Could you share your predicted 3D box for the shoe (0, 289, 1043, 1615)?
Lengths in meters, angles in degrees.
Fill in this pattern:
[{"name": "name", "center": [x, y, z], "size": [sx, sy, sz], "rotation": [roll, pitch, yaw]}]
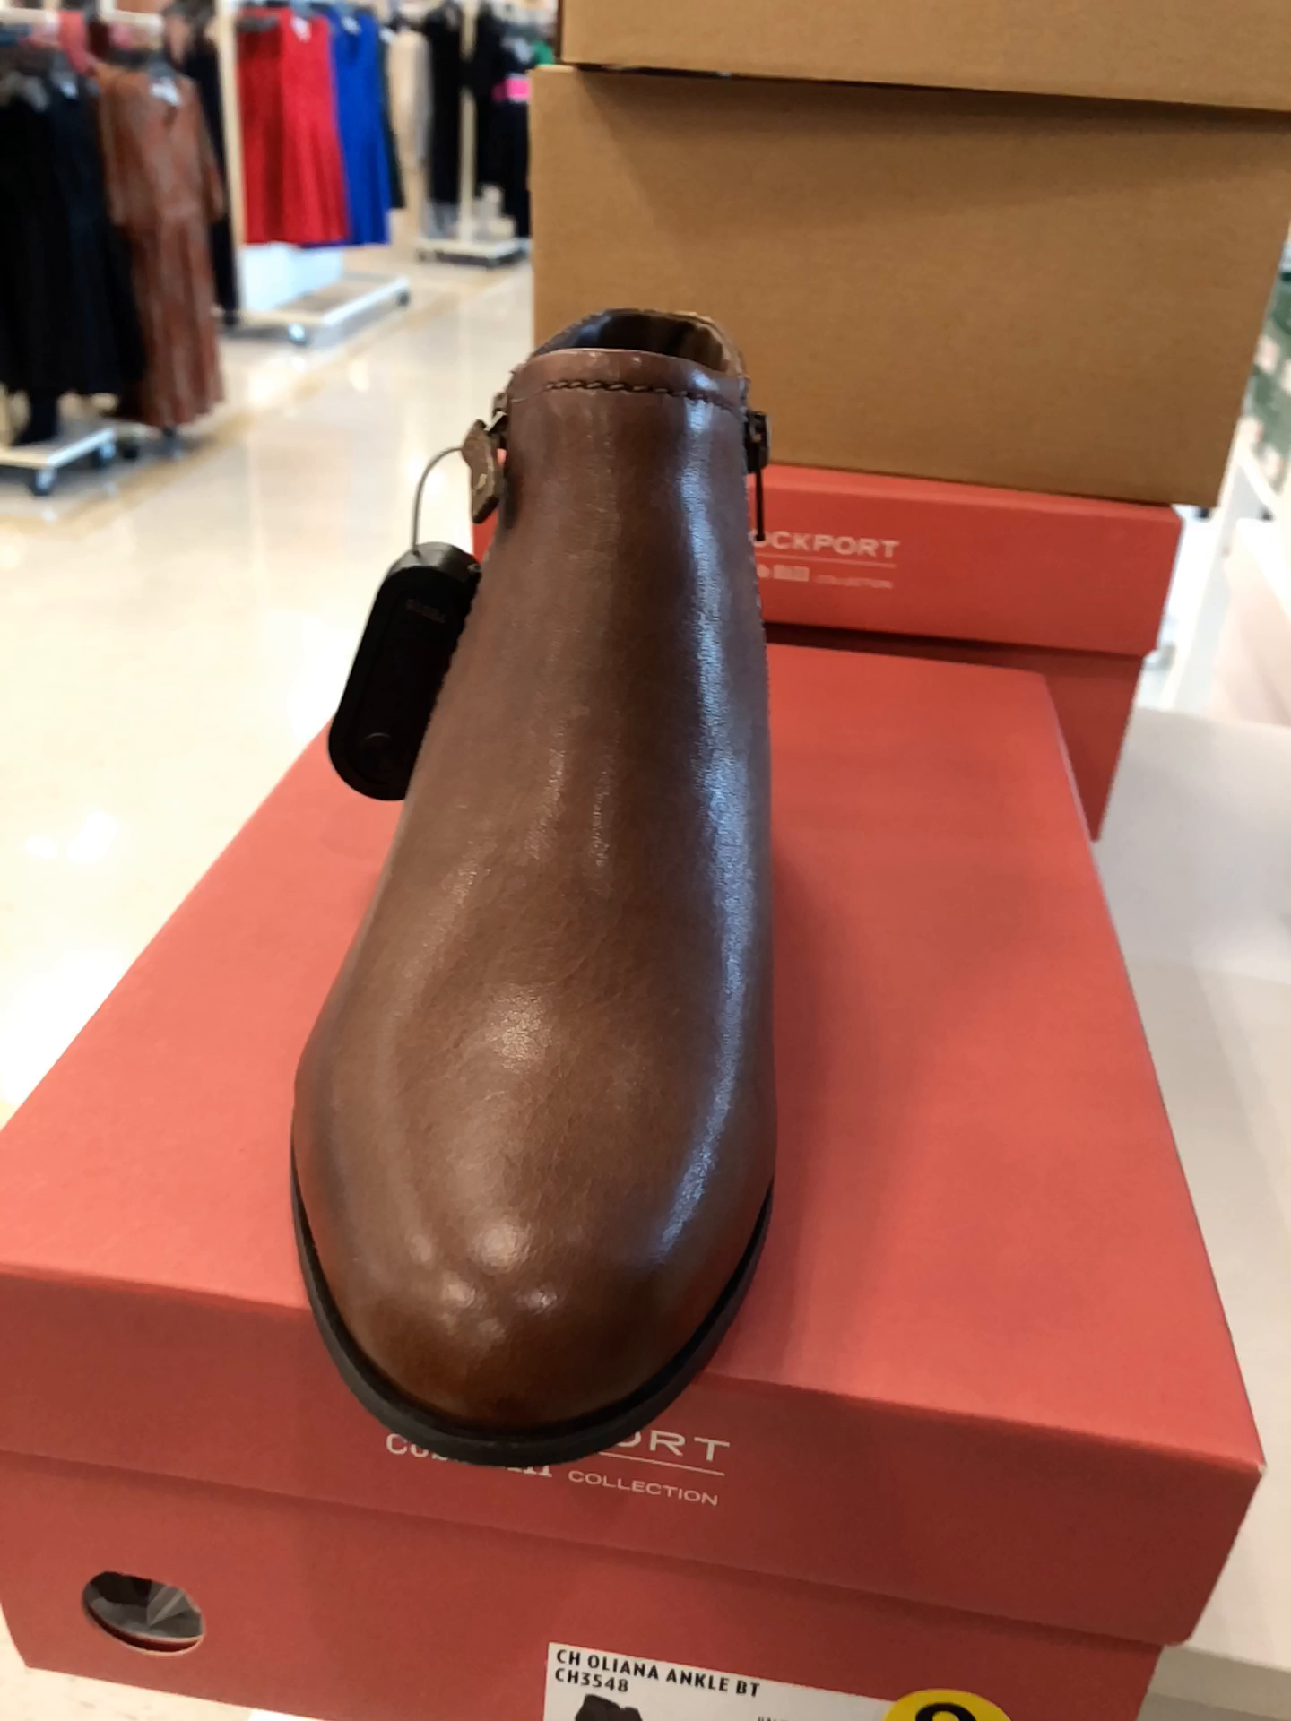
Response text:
[{"name": "shoe", "center": [-0.009, -0.025, 0.286], "size": [0.101, 0.119, 0.282], "rotation": [5, 30, 1]}]
